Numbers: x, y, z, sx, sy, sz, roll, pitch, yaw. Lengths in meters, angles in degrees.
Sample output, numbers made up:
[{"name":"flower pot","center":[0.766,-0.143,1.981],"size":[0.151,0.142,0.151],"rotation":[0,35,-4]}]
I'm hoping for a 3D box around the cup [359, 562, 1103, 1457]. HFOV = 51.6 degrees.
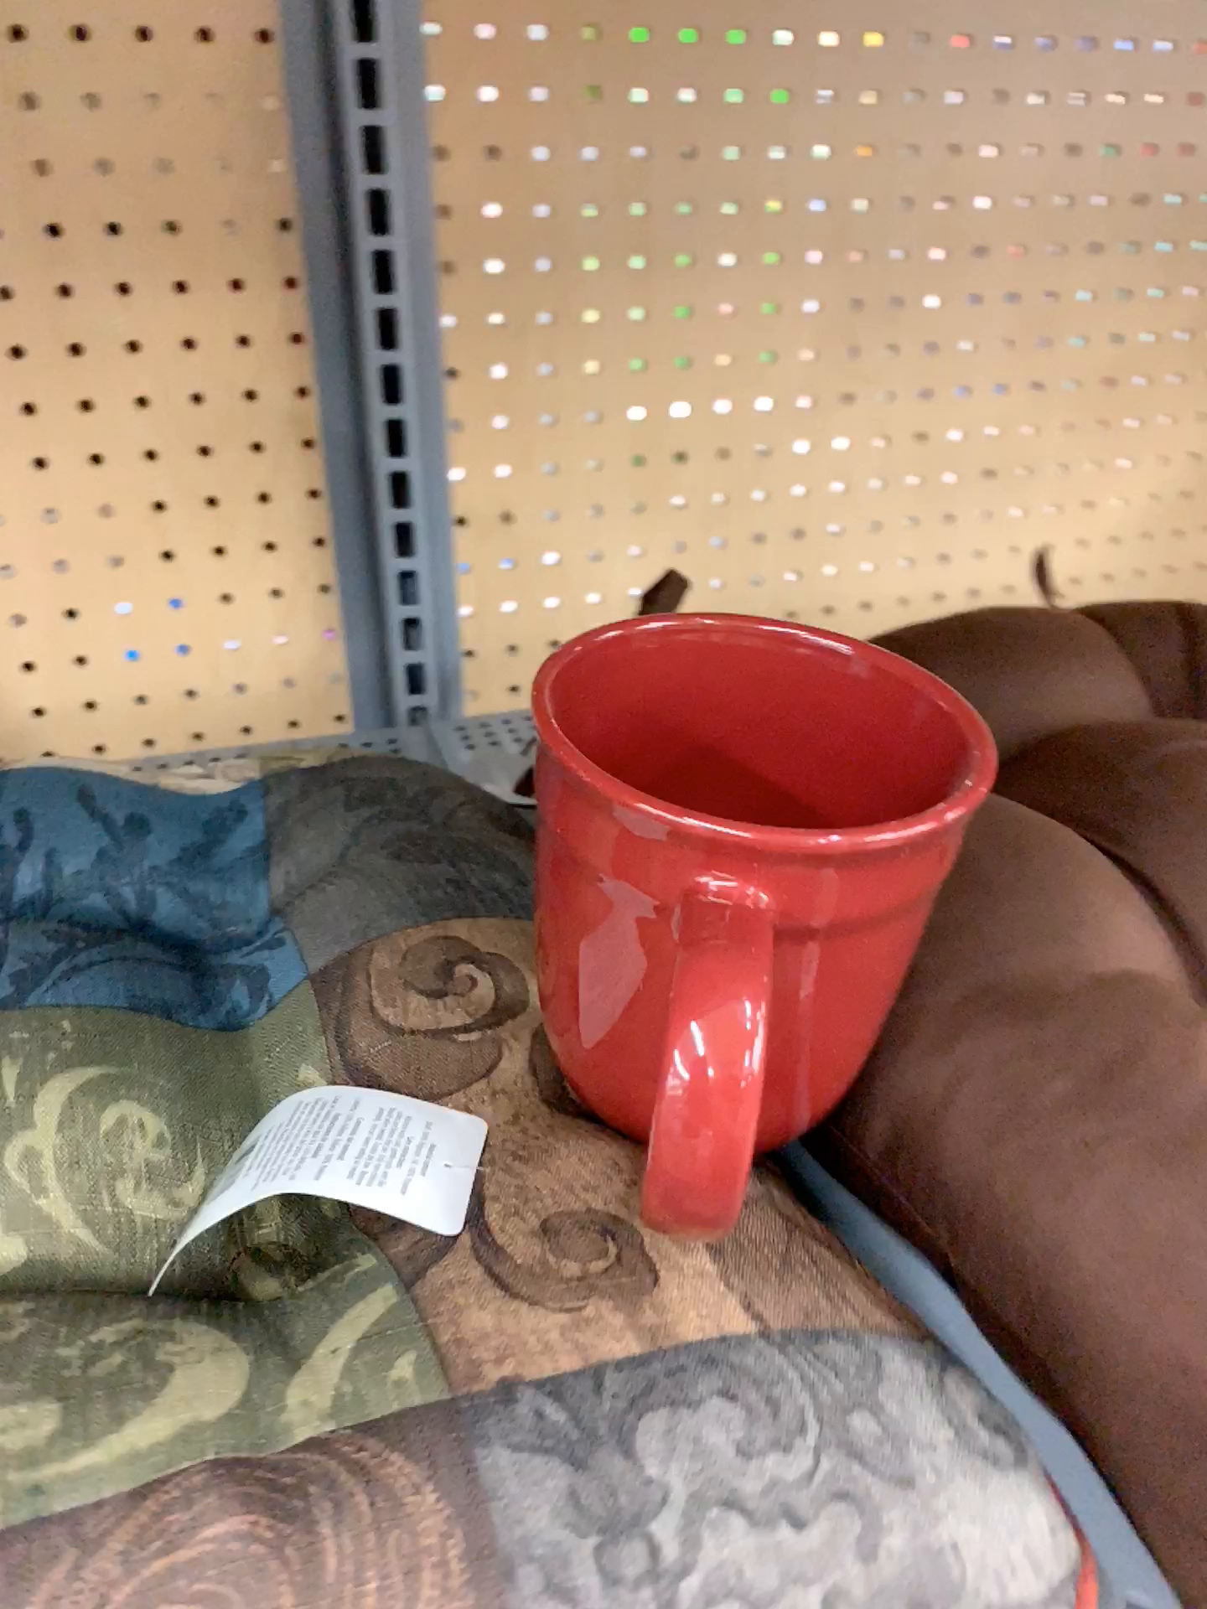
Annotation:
[{"name":"cup","center":[0.020,0.027,0.255],"size":[0.100,0.090,0.151],"rotation":[9,32,2]}]
